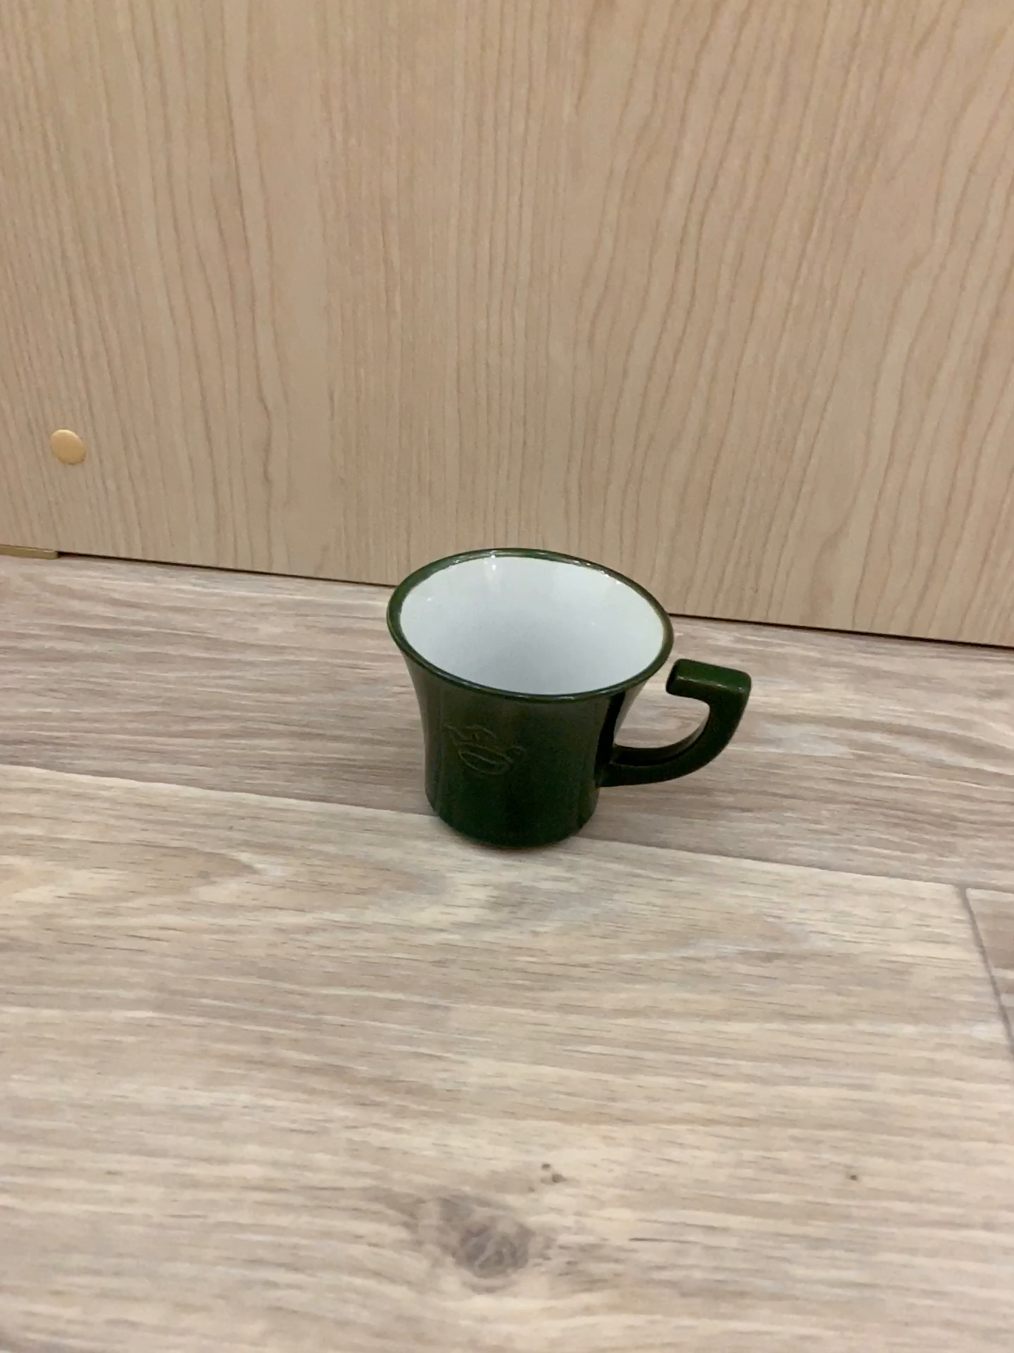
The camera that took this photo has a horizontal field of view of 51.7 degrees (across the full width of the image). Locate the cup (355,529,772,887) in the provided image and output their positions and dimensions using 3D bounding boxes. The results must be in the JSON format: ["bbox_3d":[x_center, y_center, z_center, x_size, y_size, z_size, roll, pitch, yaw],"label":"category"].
[{"bbox_3d":[0.017,0.006,0.312,0.106,0.061,0.075,8,34,6],"label":"cup"}]
